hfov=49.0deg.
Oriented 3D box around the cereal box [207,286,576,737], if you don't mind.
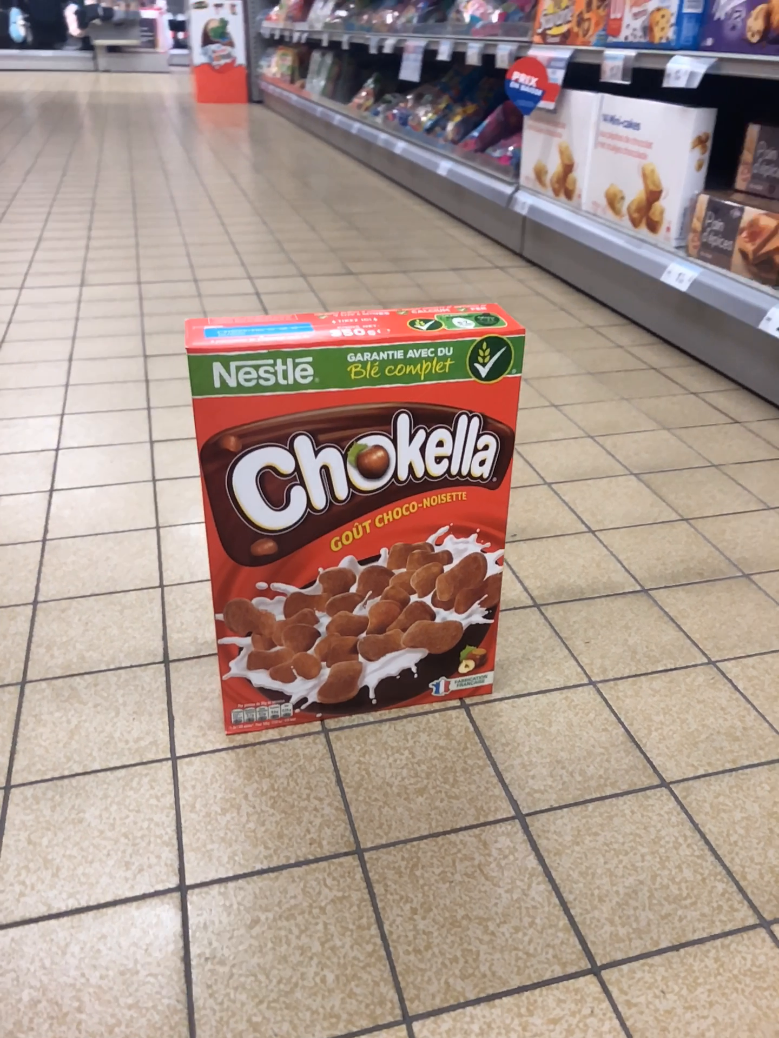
[{"bbox_3d":[-0.003,0.001,0.549,0.200,0.278,0.060,-5,29,-12],"label":"cereal box"}]
